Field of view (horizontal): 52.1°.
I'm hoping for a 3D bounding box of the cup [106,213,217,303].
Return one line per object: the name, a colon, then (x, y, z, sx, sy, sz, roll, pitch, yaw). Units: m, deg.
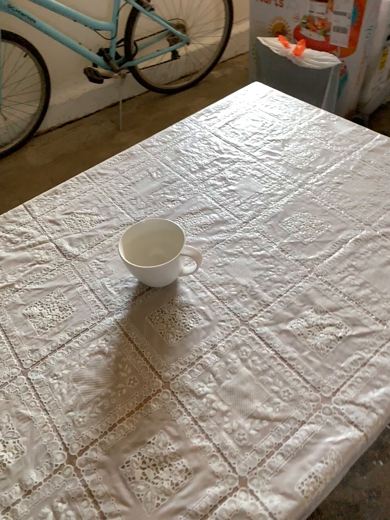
cup: (-0.047, -0.005, 0.627, 0.140, 0.070, 0.100, 8, 52, 14)
